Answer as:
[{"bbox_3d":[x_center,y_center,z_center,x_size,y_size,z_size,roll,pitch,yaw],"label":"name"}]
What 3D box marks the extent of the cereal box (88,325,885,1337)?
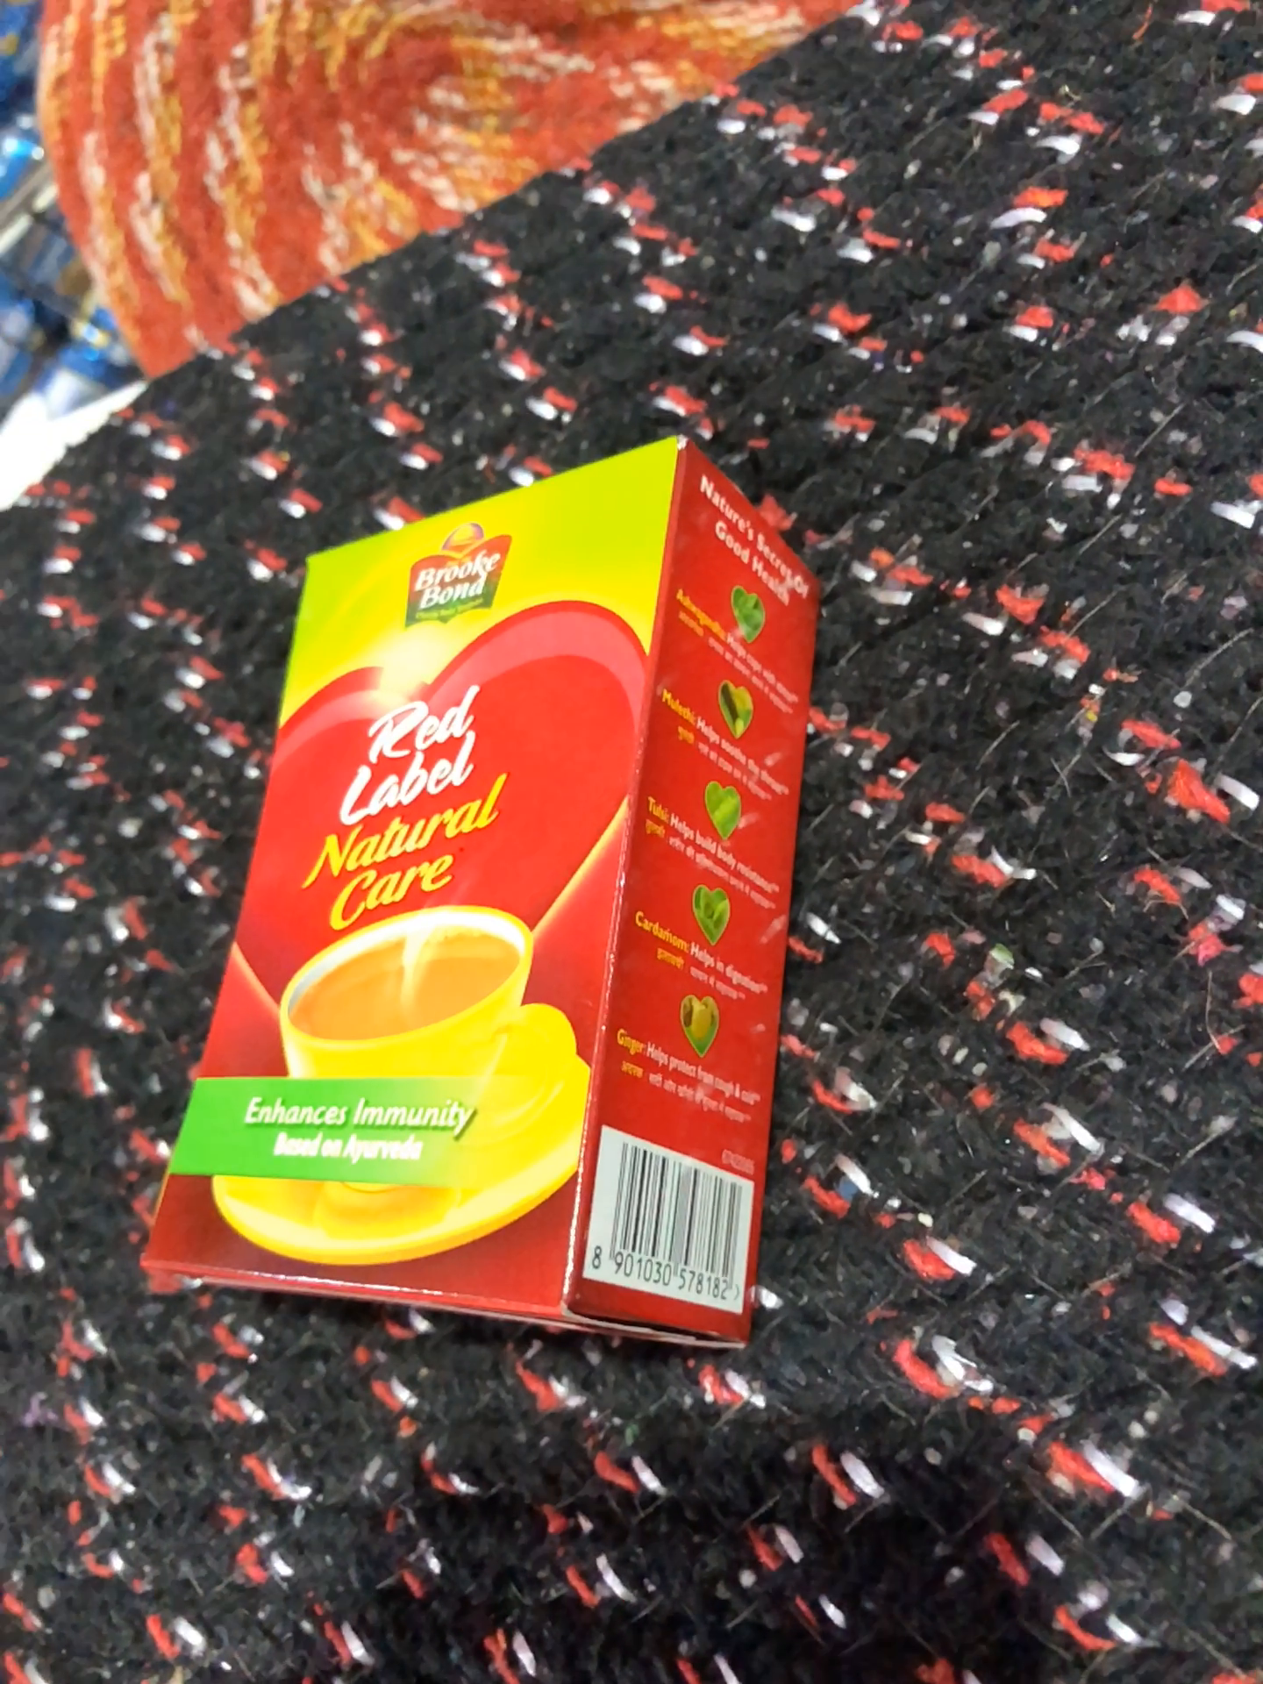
[{"bbox_3d":[-0.015,0.001,0.186,0.080,0.040,0.110,-6,66,32],"label":"cereal box"}]
